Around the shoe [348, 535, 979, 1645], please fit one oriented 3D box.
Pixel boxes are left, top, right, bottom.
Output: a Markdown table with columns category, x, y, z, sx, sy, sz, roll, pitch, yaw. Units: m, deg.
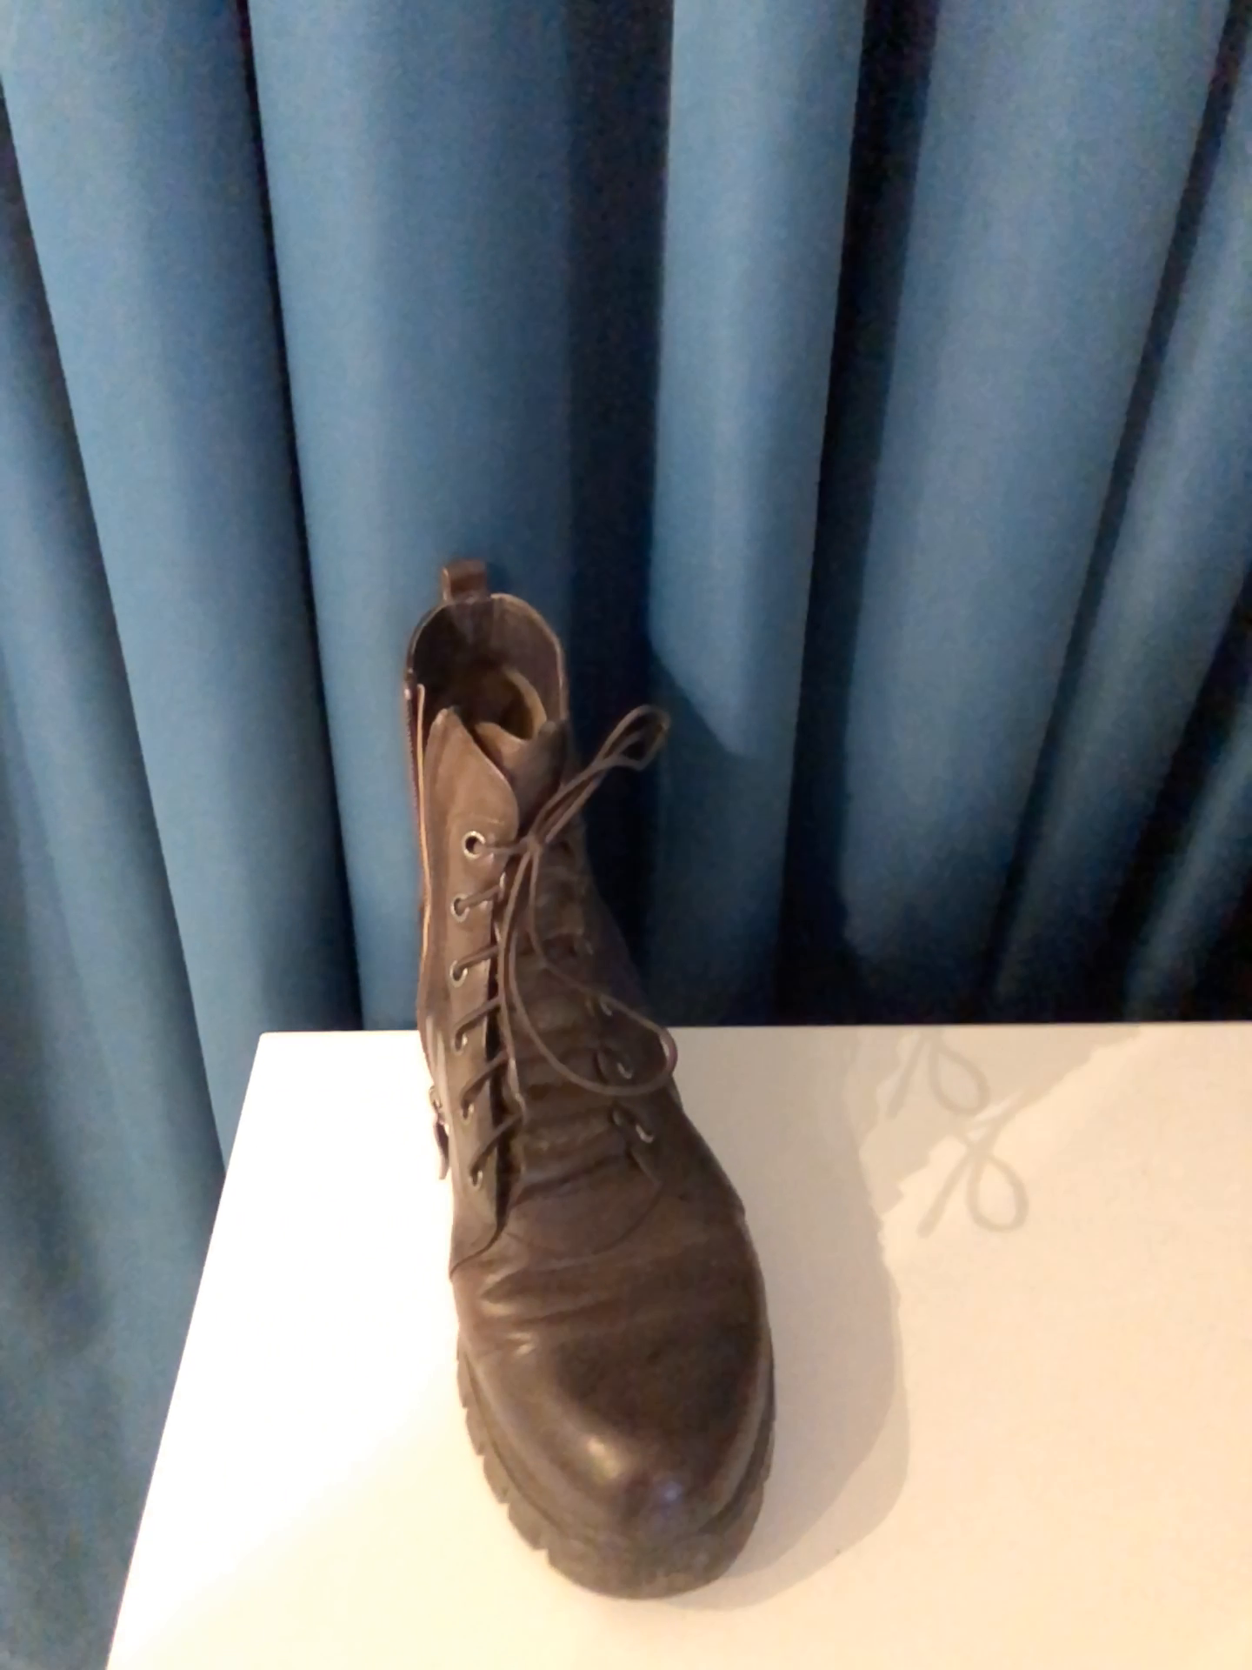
| category | x | y | z | sx | sy | sz | roll | pitch | yaw |
| --- | --- | --- | --- | --- | --- | --- | --- | --- | --- |
| shoe | -0.014 | 0.047 | 0.409 | 0.100 | 0.169 | 0.272 | -7 | 36 | -11 |
